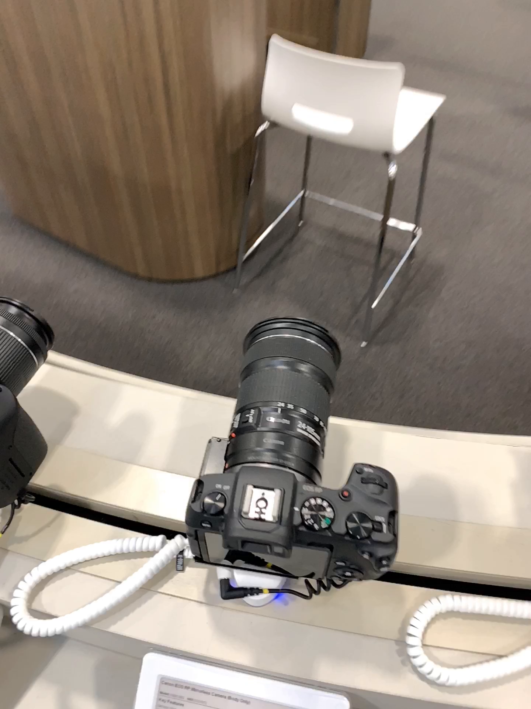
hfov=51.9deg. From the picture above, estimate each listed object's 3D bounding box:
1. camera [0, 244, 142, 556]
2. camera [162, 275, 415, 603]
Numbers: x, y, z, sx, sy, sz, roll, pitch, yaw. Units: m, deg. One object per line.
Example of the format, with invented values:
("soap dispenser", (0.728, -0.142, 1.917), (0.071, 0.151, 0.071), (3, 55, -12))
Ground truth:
("camera", (-0.212, 0.029, 0.421), (0.150, 0.120, 0.170), (14, 52, 11))
("camera", (0.025, 0.053, 0.402), (0.140, 0.100, 0.201), (6, 51, 5))
